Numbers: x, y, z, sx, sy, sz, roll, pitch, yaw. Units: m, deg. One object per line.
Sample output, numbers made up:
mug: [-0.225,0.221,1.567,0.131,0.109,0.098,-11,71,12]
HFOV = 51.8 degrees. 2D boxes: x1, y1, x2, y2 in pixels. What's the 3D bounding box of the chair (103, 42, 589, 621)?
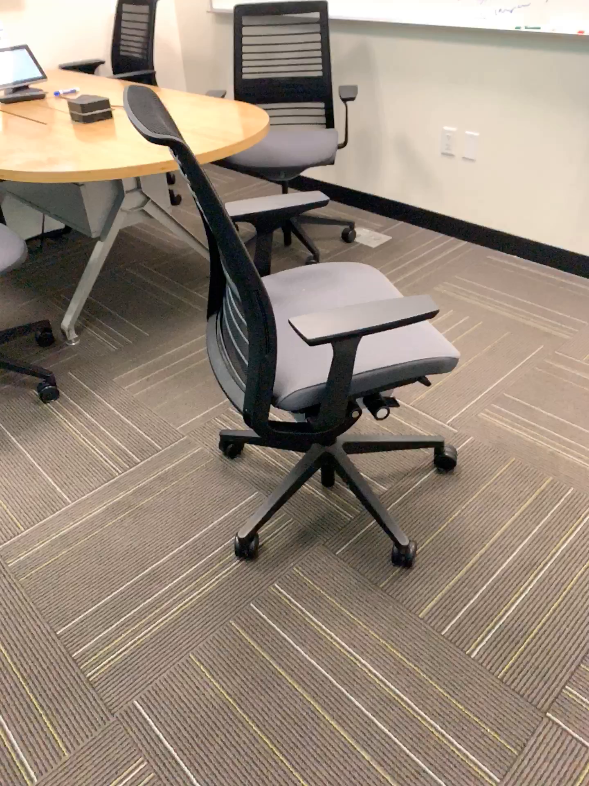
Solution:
chair: [0.044,-0.149,1.361,0.690,0.993,0.655,-11,38,-11]
